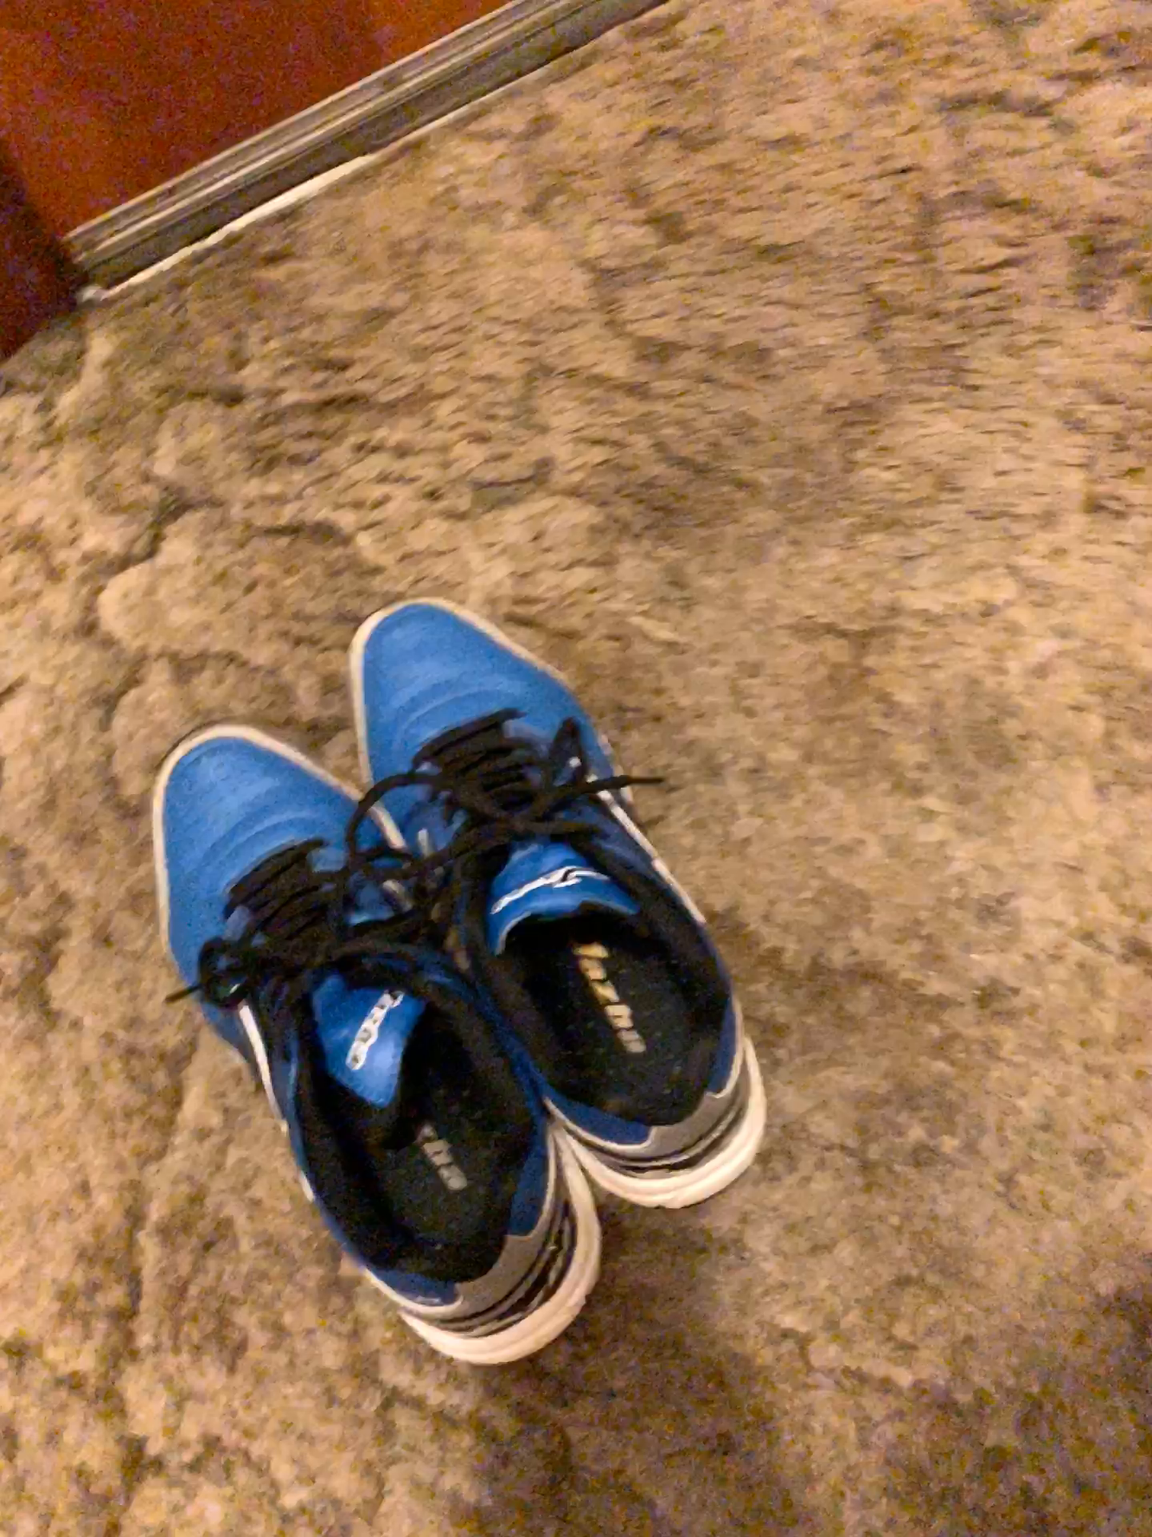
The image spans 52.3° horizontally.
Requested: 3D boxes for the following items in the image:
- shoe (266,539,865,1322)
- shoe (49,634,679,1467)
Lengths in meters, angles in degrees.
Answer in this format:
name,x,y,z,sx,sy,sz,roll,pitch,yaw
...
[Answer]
name,x,y,z,sx,sy,sz,roll,pitch,yaw
shoe,-0.012,0.063,0.486,0.100,0.120,0.281,-28,68,-8
shoe,-0.080,0.099,0.458,0.100,0.120,0.271,-32,69,-9
